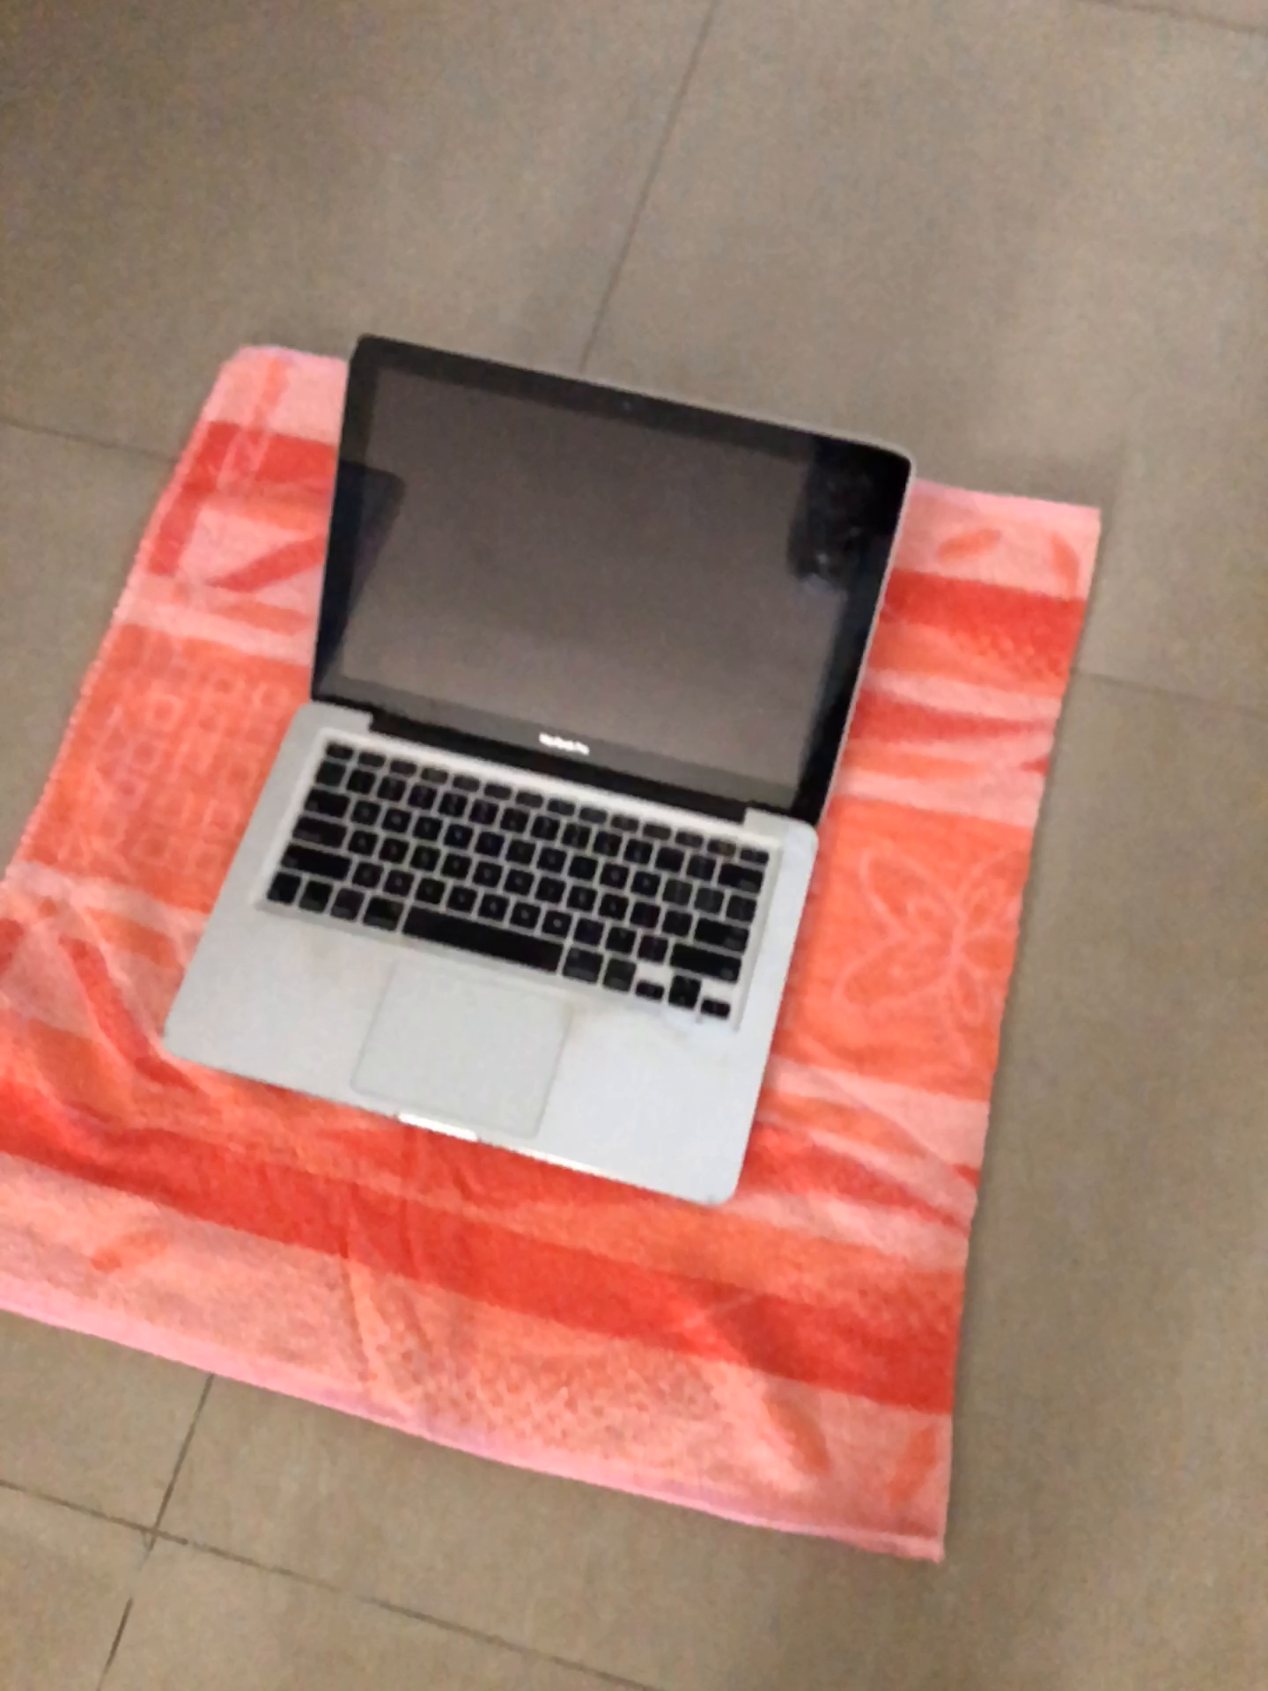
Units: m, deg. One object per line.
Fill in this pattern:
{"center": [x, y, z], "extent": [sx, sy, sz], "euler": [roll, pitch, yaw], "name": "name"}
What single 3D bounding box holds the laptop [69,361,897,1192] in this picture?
{"center": [-0.057, -0.045, 0.758], "extent": [0.309, 0.133, 0.373], "euler": [14, 67, 5], "name": "laptop"}
